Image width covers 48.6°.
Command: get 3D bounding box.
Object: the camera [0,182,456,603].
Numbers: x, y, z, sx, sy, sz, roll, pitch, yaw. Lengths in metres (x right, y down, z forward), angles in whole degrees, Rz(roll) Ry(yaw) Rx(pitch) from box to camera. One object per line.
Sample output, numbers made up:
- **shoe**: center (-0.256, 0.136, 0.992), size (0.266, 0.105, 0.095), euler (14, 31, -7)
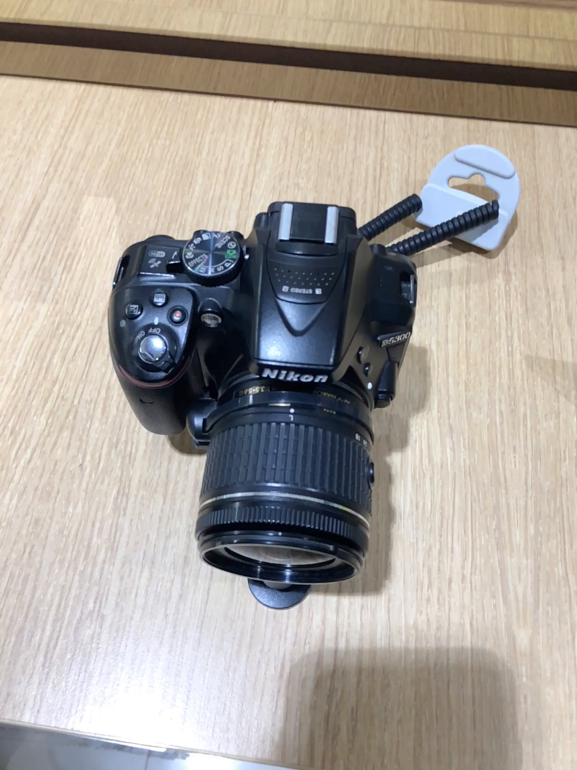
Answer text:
- **camera**: center (-0.013, 0.008, 0.234), size (0.120, 0.102, 0.110), euler (4, 61, 3)
